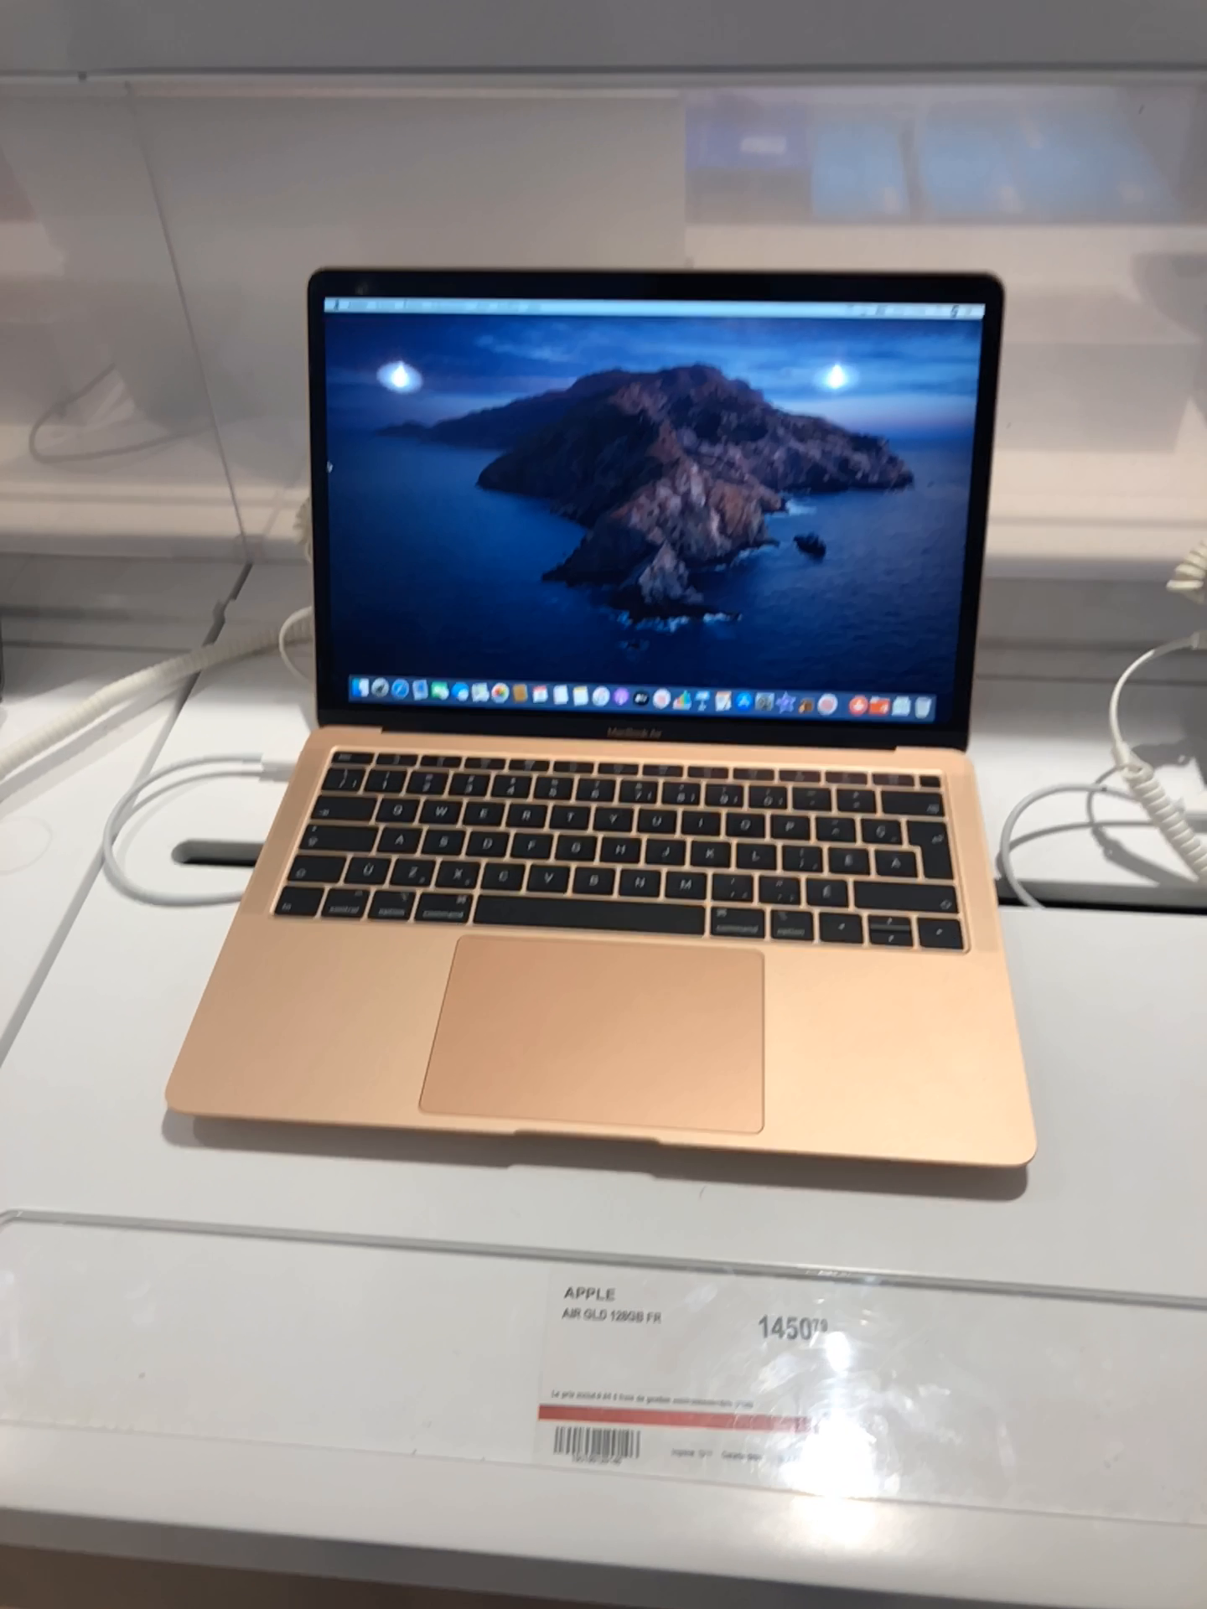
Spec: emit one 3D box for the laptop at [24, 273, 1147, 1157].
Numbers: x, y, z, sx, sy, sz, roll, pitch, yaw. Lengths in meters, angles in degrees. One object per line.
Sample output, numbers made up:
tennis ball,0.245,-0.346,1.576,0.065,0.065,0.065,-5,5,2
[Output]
laptop,0.006,-0.055,0.511,0.291,0.170,0.305,2,44,5
